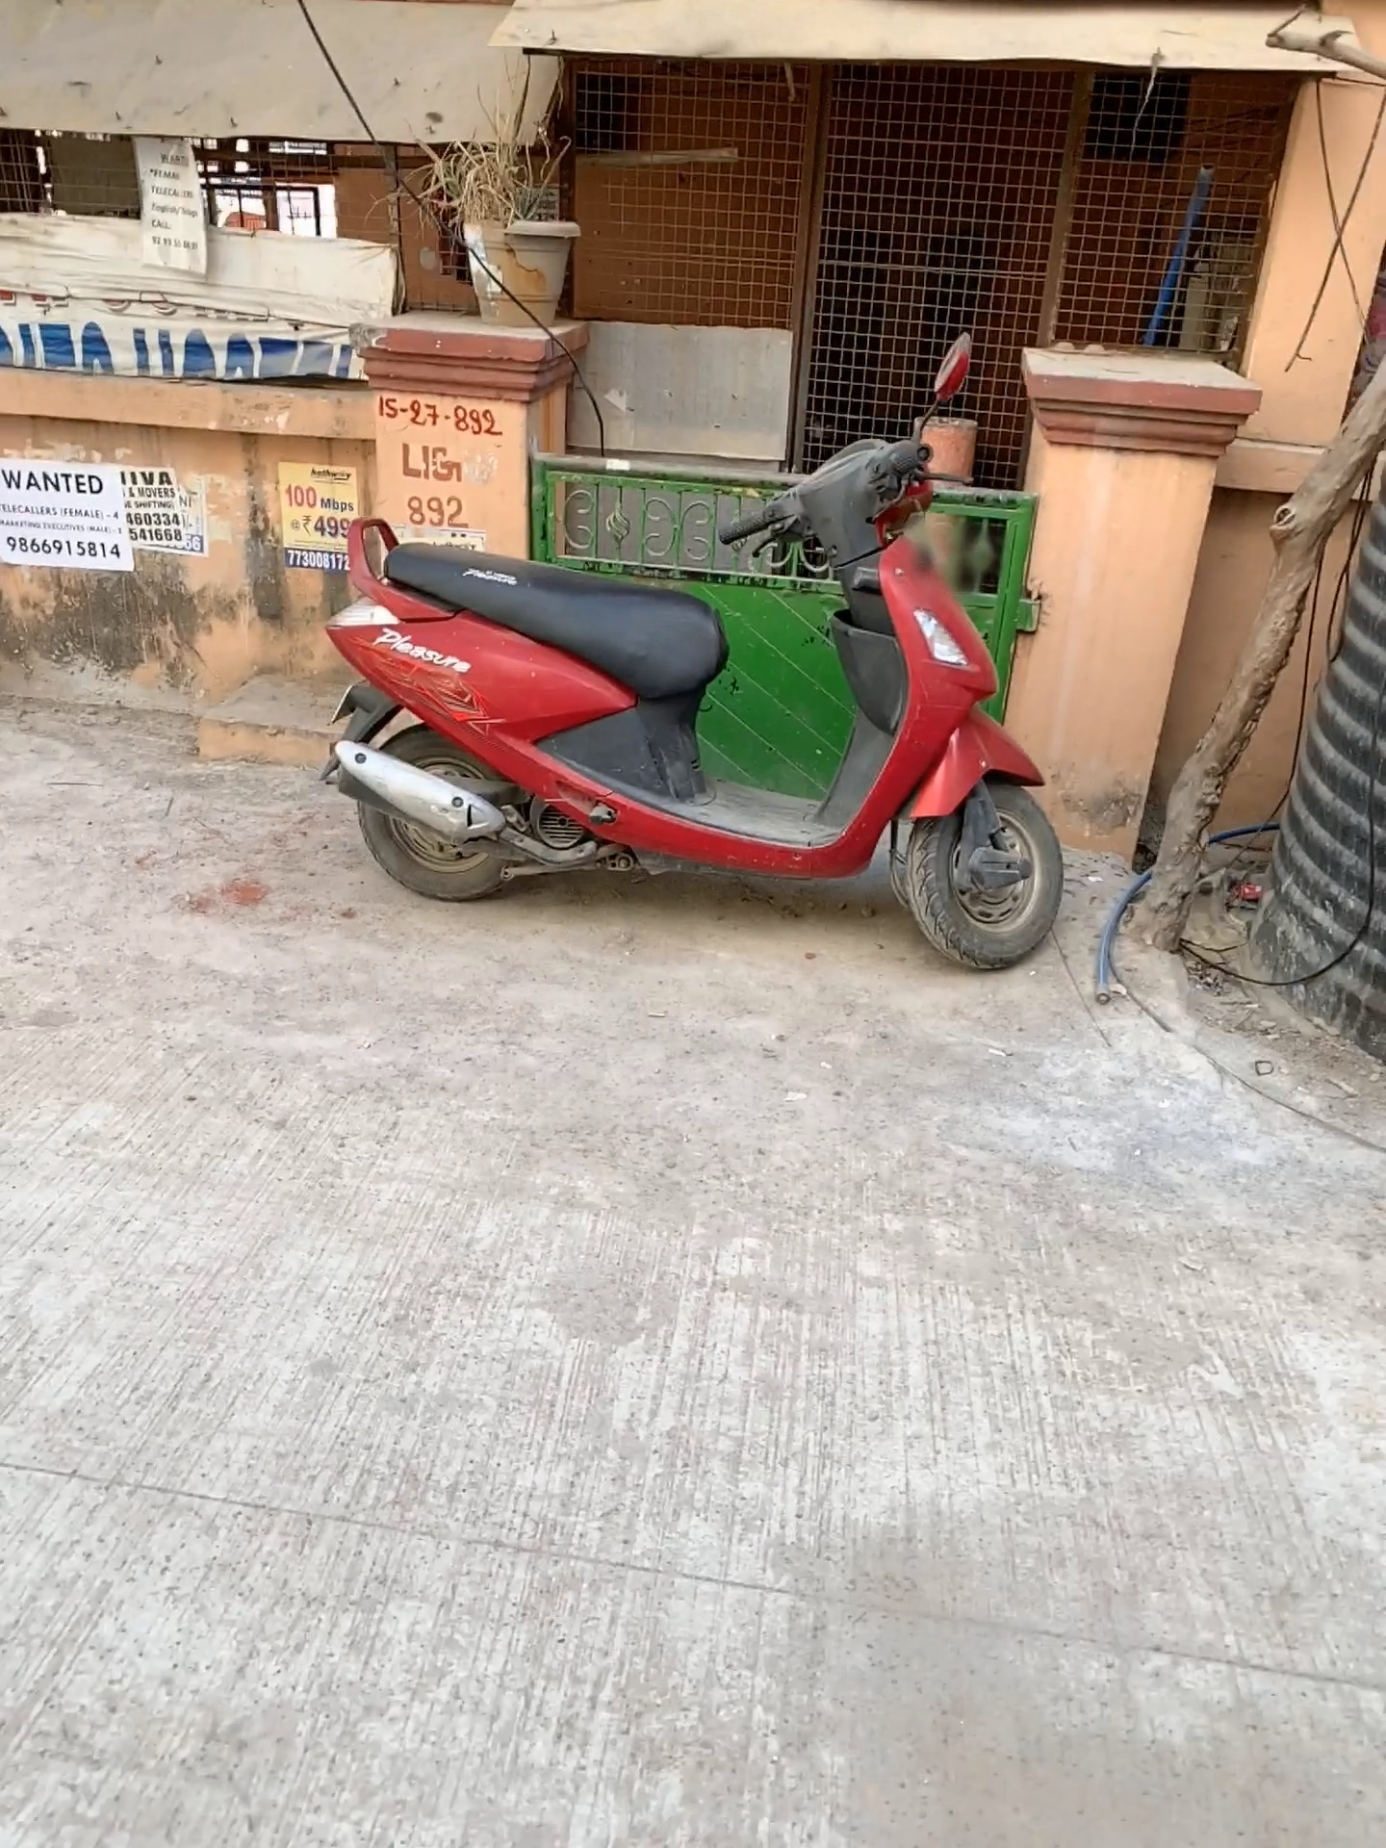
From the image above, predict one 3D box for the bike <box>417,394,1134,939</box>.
[{"bbox_3d":[0.149,-0.556,2.975,1.271,0.916,0.621,3,27,0],"label":"bike"}]
